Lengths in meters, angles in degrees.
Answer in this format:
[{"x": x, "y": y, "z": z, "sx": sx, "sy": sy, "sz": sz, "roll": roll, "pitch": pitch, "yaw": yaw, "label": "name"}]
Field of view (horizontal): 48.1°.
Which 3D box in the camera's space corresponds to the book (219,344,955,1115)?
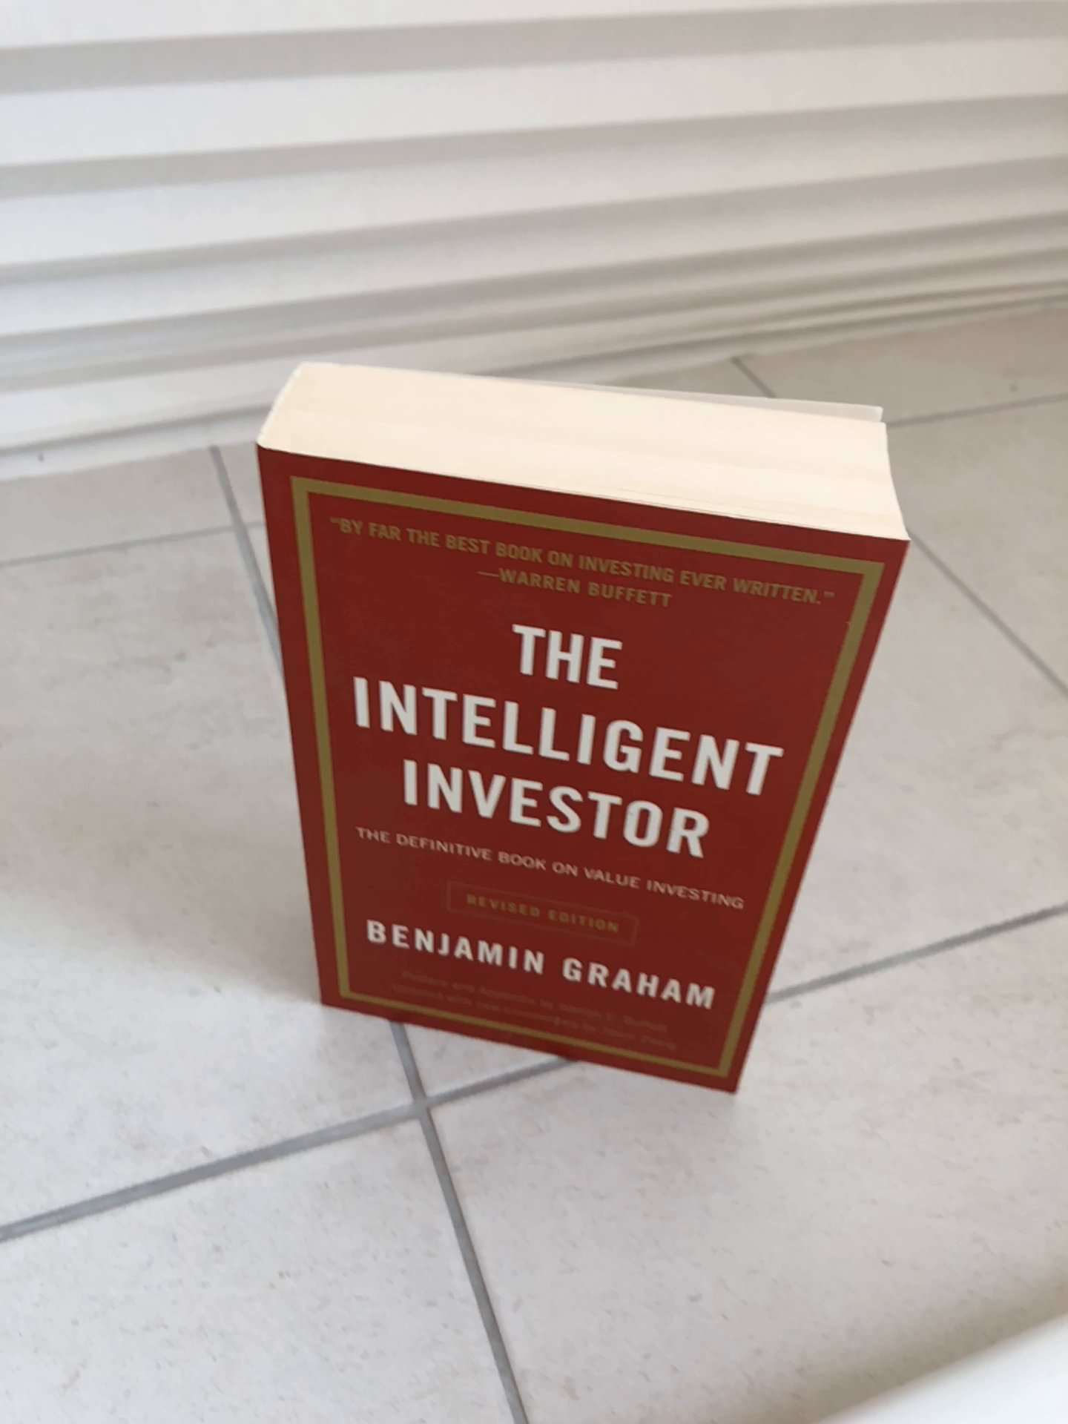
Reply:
[{"x": 0.009, "y": 0.018, "z": 0.328, "sx": 0.149, "sy": 0.206, "sz": 0.057, "roll": 9, "pitch": 43, "yaw": 6, "label": "book"}]
